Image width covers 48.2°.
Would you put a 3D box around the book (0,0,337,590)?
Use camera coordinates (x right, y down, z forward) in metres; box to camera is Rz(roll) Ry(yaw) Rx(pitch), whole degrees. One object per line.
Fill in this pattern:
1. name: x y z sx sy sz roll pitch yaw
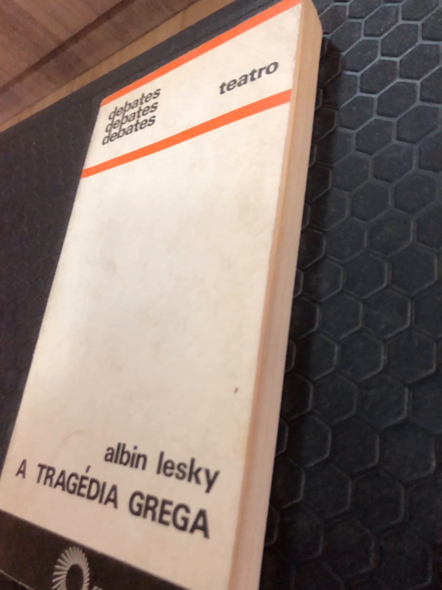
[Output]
1. book: -0.024 -0.001 0.179 0.114 0.020 0.207 -5 68 39
